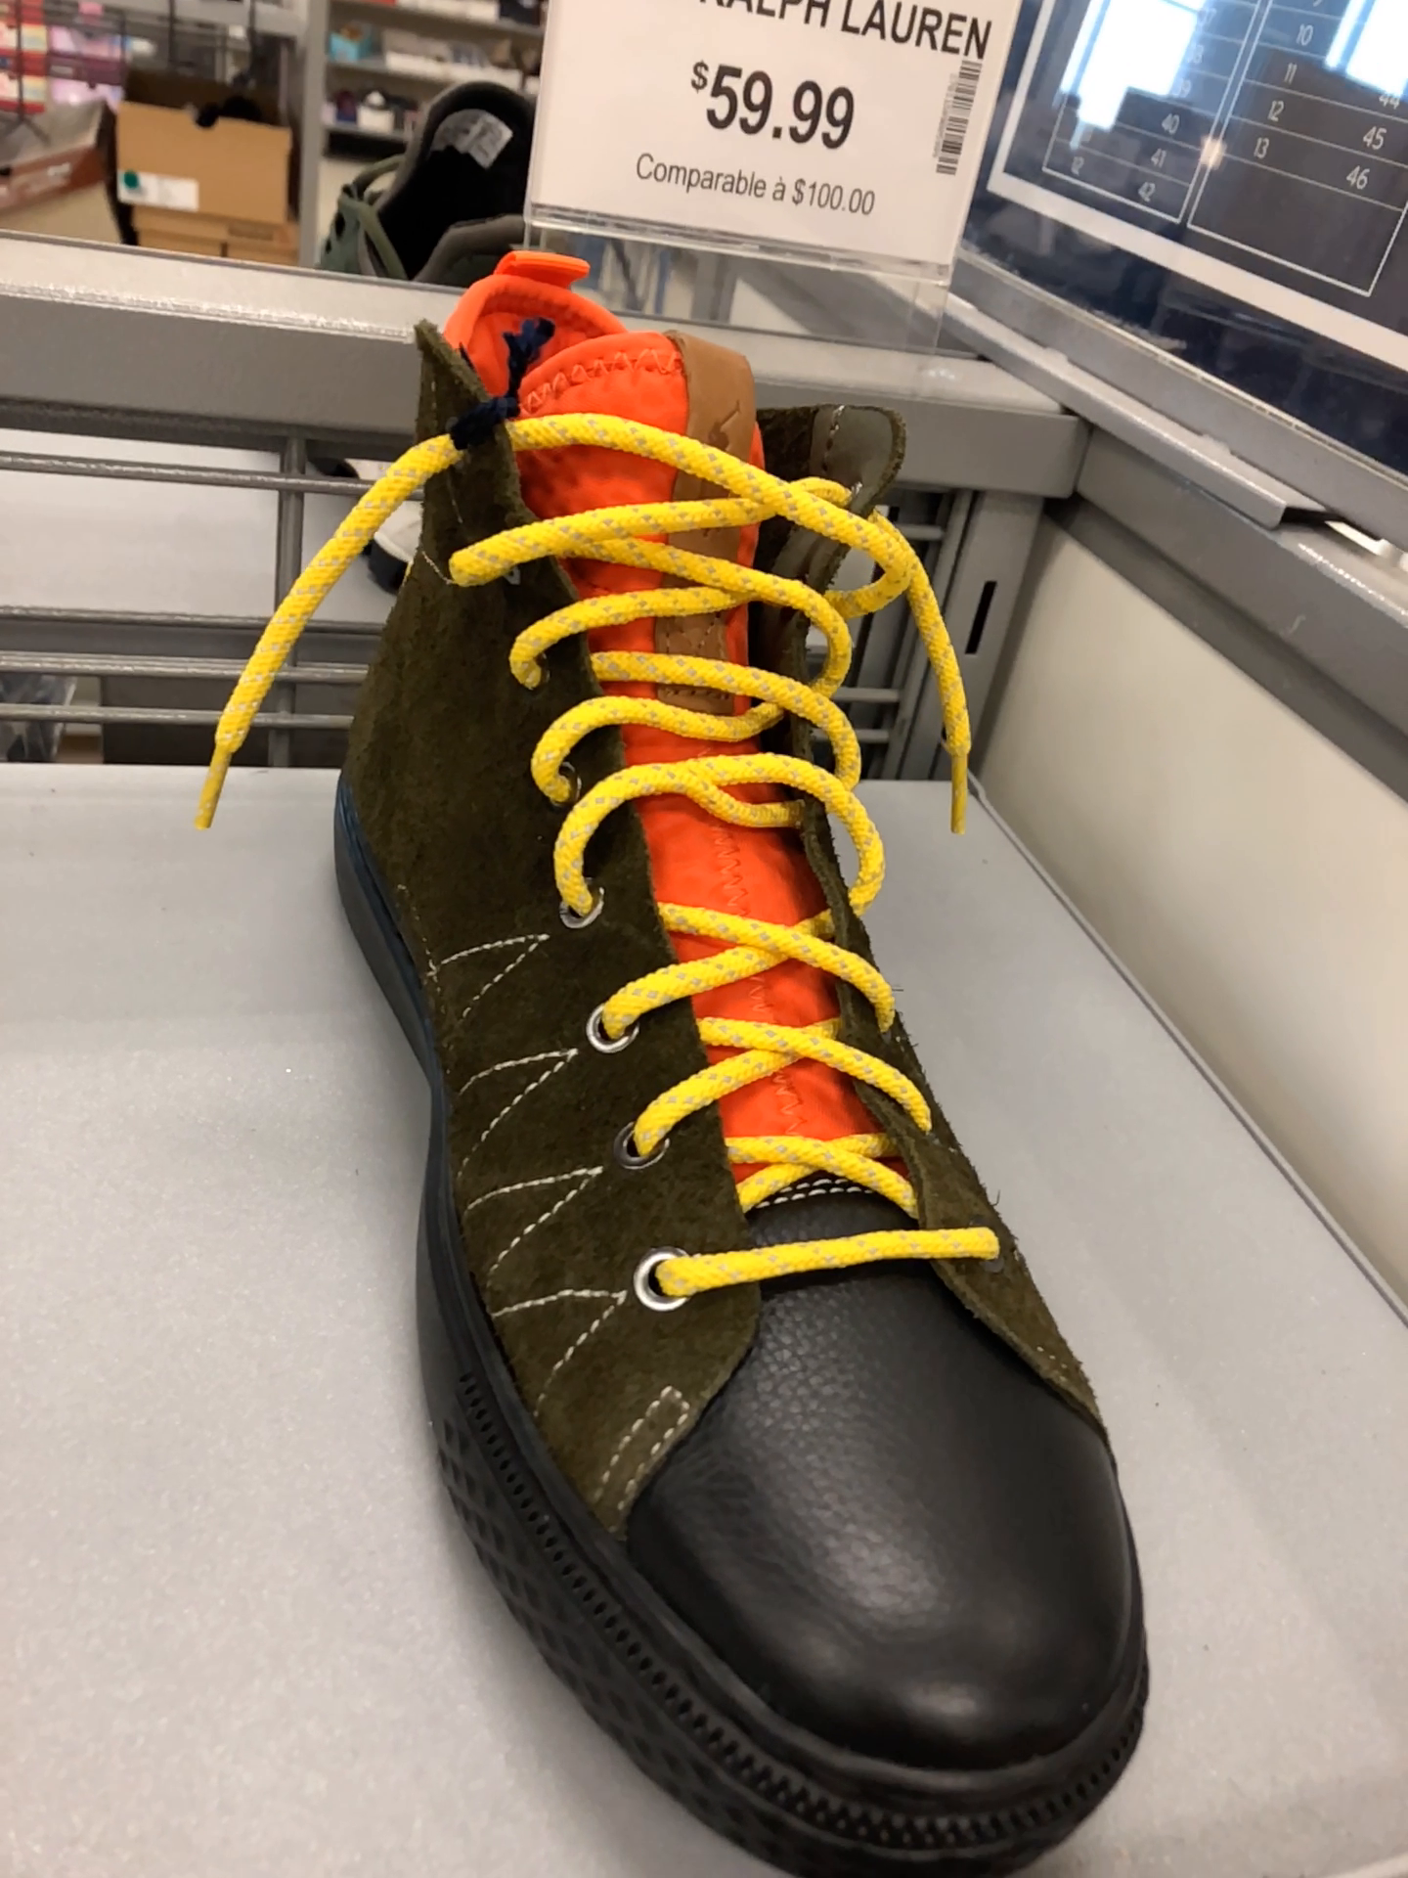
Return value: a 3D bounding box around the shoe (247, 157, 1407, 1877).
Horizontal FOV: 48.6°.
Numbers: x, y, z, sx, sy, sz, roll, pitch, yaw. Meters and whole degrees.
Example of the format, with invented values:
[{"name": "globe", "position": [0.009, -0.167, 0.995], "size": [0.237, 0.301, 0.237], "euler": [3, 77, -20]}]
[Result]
[{"name": "shoe", "position": [0.000, -0.019, 0.298], "size": [0.125, 0.171, 0.300], "euler": [-3, 35, -23]}]
